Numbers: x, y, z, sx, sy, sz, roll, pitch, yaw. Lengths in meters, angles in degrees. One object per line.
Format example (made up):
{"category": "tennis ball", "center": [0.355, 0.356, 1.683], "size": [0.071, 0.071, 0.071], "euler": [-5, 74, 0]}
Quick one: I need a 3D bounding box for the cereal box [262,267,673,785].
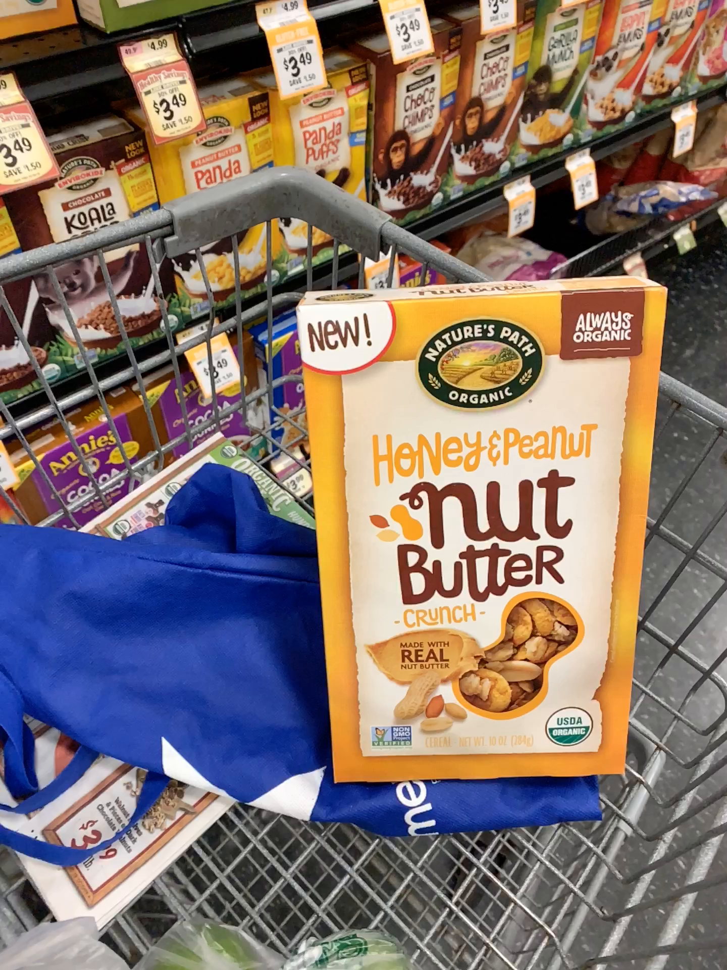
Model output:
{"category": "cereal box", "center": [0.046, 0.027, 0.356], "size": [0.160, 0.239, 0.050], "euler": [-2, 20, 2]}
